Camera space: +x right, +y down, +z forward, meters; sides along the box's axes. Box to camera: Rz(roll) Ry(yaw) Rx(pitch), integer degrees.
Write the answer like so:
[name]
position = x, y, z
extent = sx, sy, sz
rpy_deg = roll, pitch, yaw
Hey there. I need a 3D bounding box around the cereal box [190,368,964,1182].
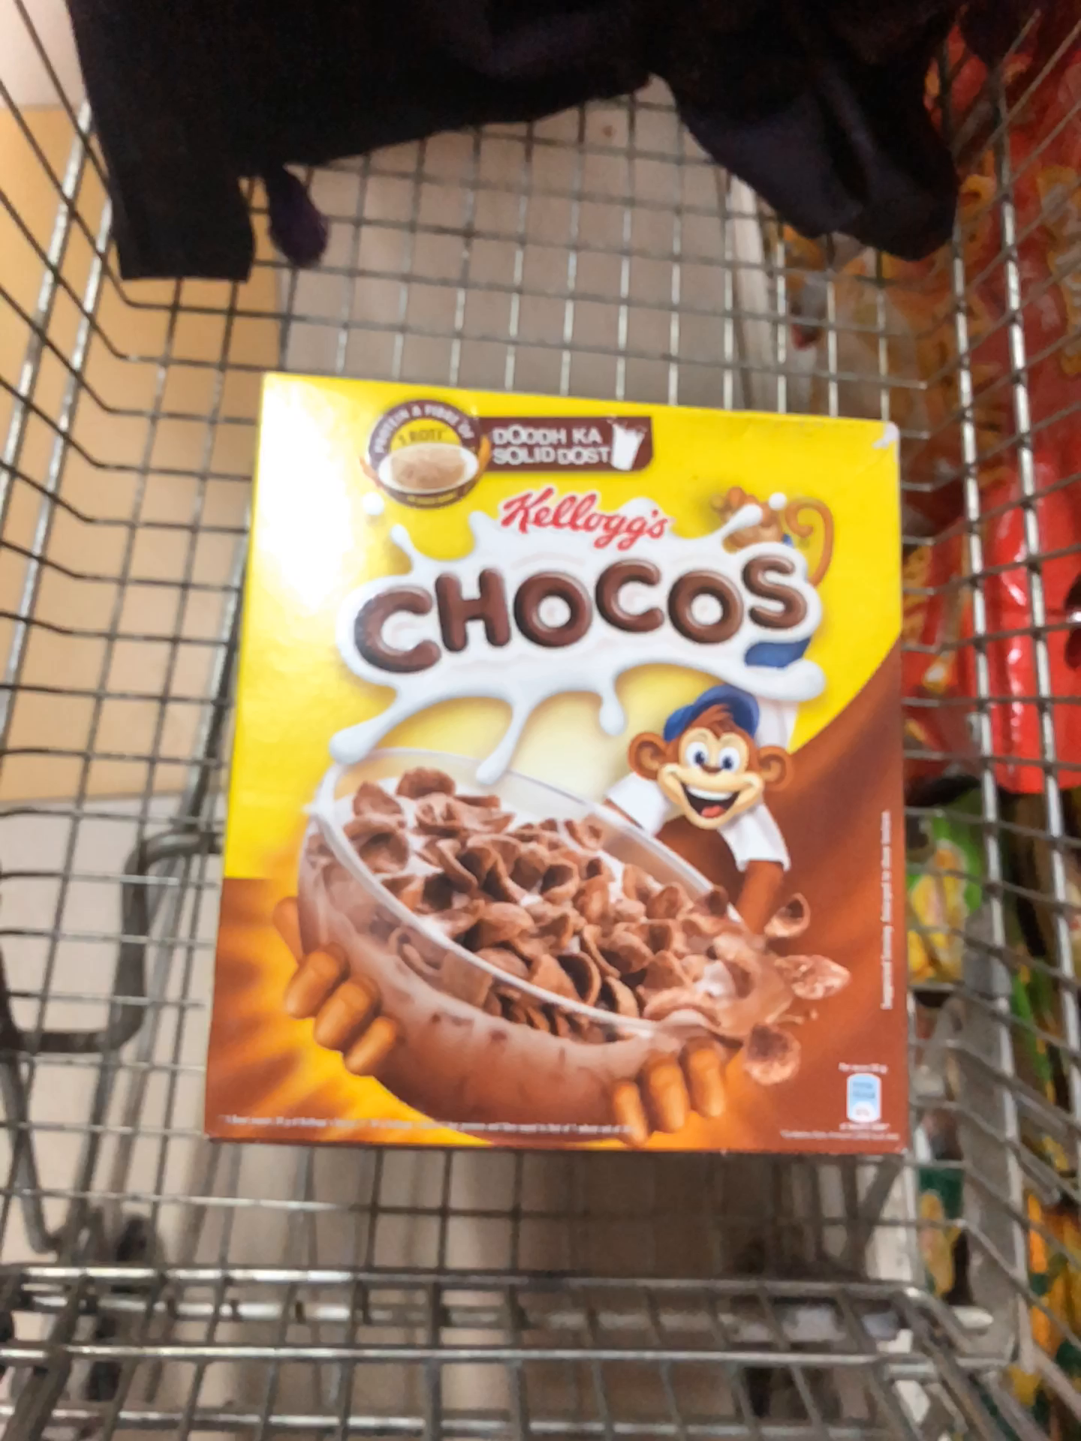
[cereal box]
position = 0.012, 0.016, 0.329
extent = 0.180, 0.070, 0.190
rpy_deg = 3, 81, -5
